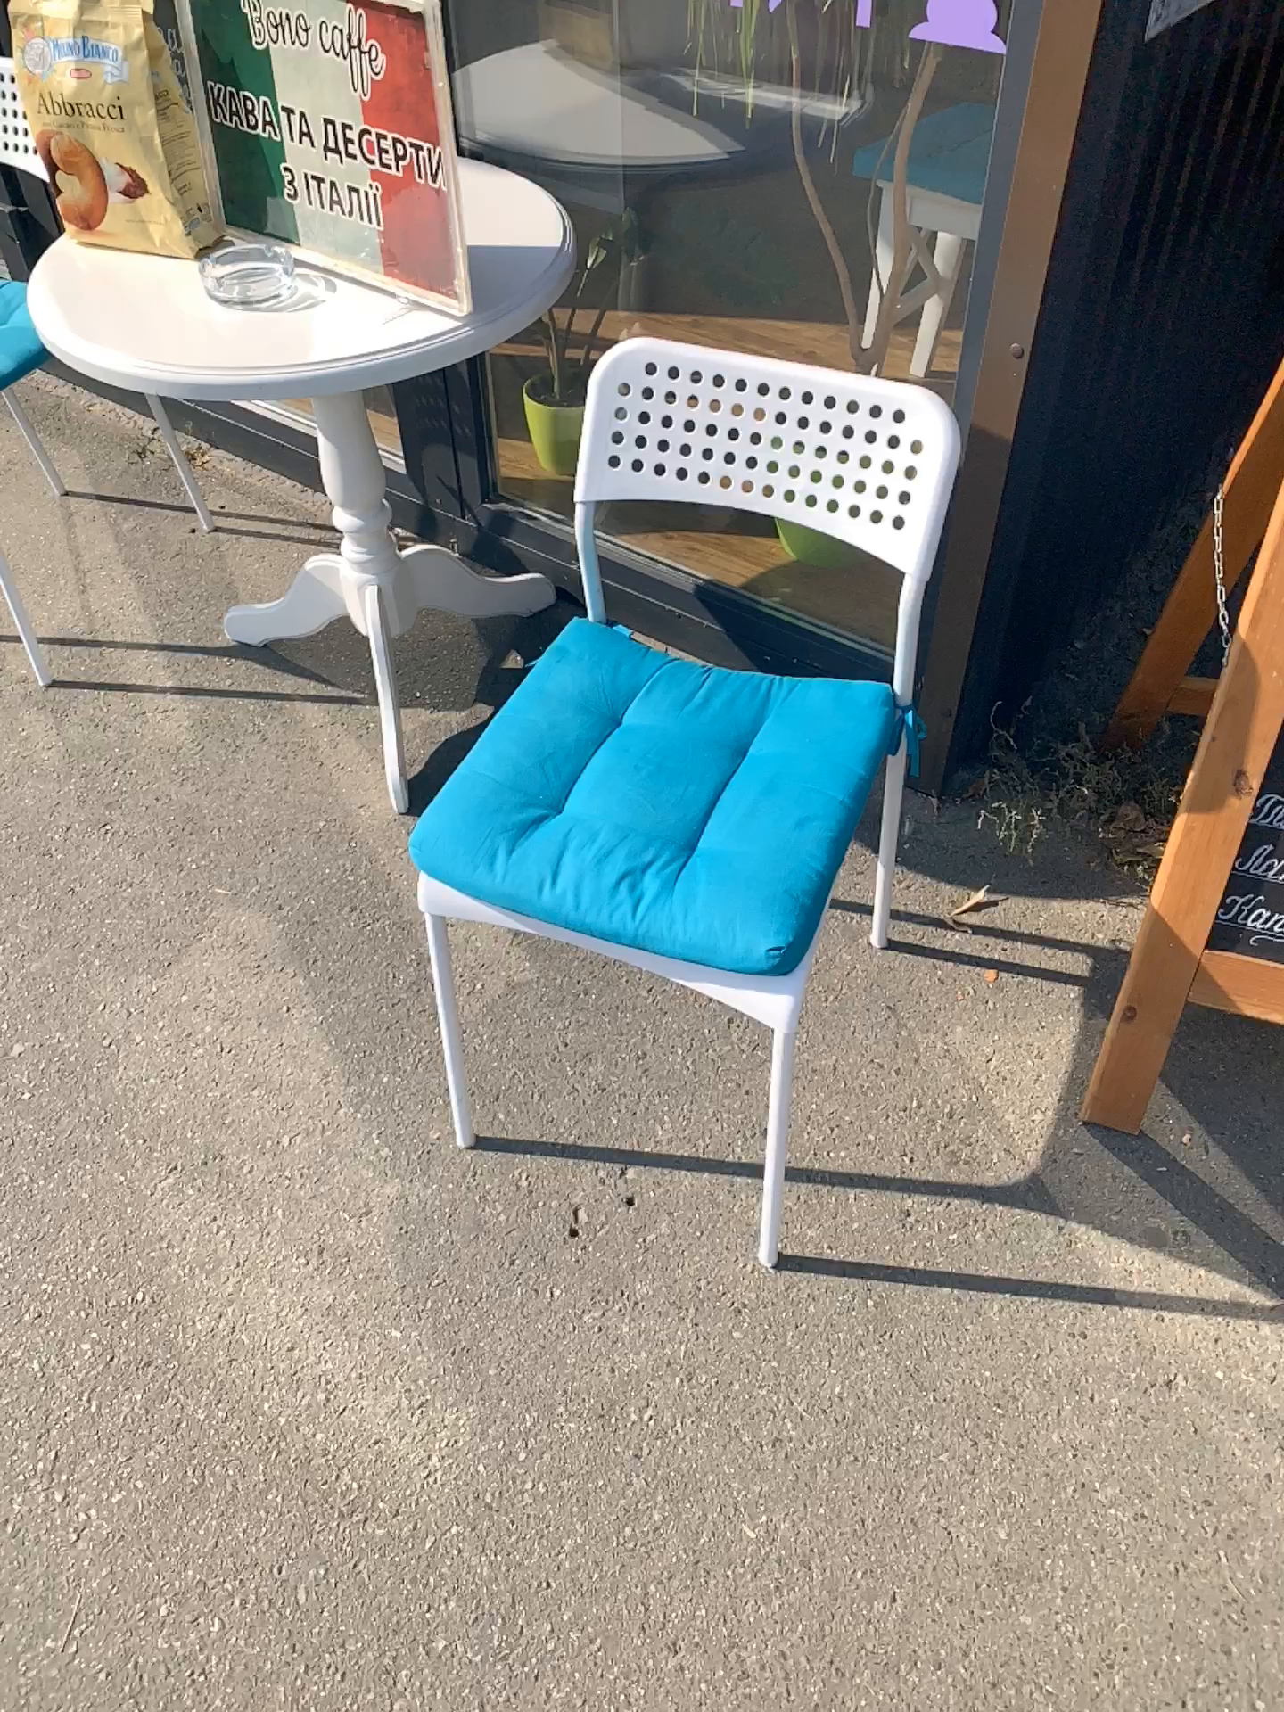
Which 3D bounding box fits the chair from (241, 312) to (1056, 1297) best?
[{"bbox_3d":[0.043,-0.047,1.296,0.481,0.697,0.542,16,49,16],"label":"chair"}]
